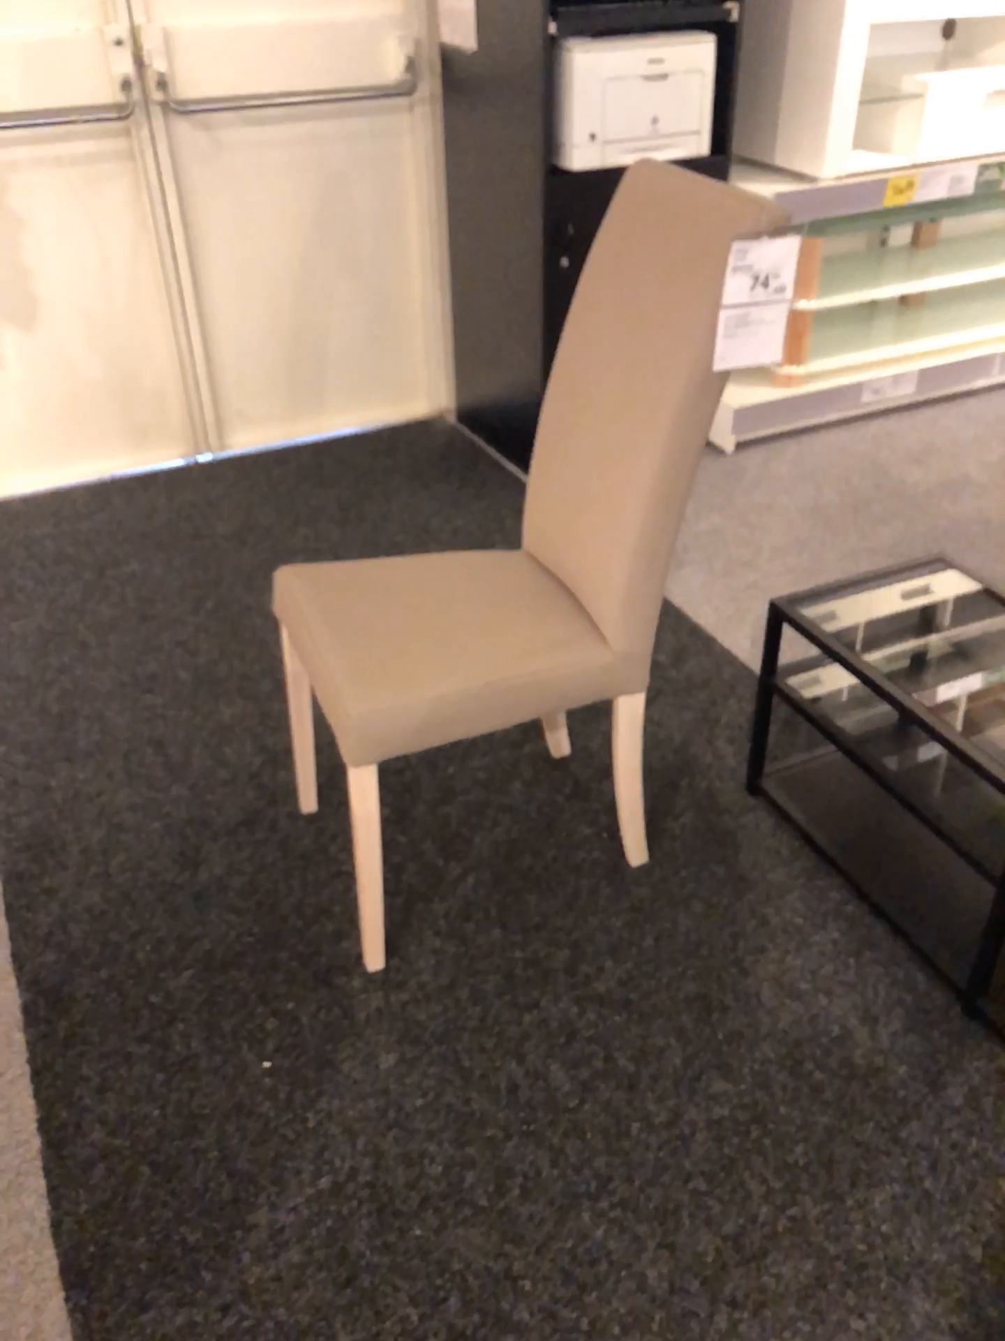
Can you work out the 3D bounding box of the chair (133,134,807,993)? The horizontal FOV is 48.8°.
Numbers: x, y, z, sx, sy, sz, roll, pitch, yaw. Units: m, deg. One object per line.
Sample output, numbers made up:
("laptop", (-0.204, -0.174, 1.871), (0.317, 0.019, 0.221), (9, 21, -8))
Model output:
("chair", (-0.065, -0.165, 1.532), (0.631, 0.944, 0.532), (-13, 35, -18))
